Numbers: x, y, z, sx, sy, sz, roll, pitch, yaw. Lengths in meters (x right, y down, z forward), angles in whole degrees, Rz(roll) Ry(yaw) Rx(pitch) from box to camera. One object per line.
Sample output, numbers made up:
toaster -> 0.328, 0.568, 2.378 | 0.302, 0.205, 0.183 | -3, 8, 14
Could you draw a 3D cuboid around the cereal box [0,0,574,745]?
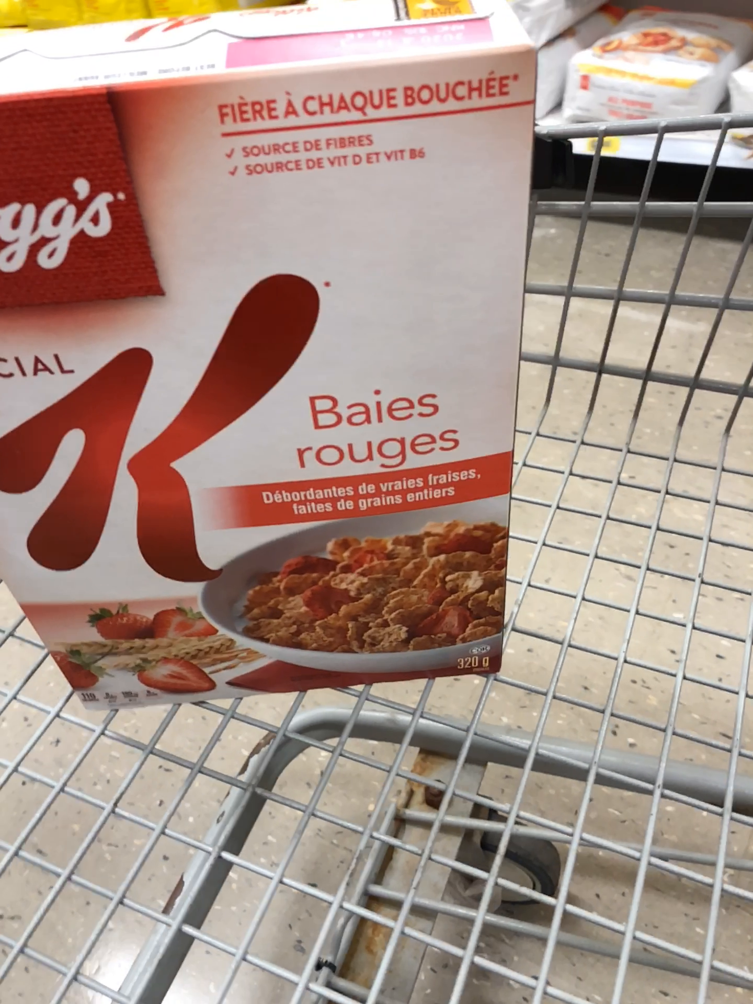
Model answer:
cereal box -> -0.051, -0.015, 0.296 | 0.210, 0.269, 0.050 | -5, 43, 2
